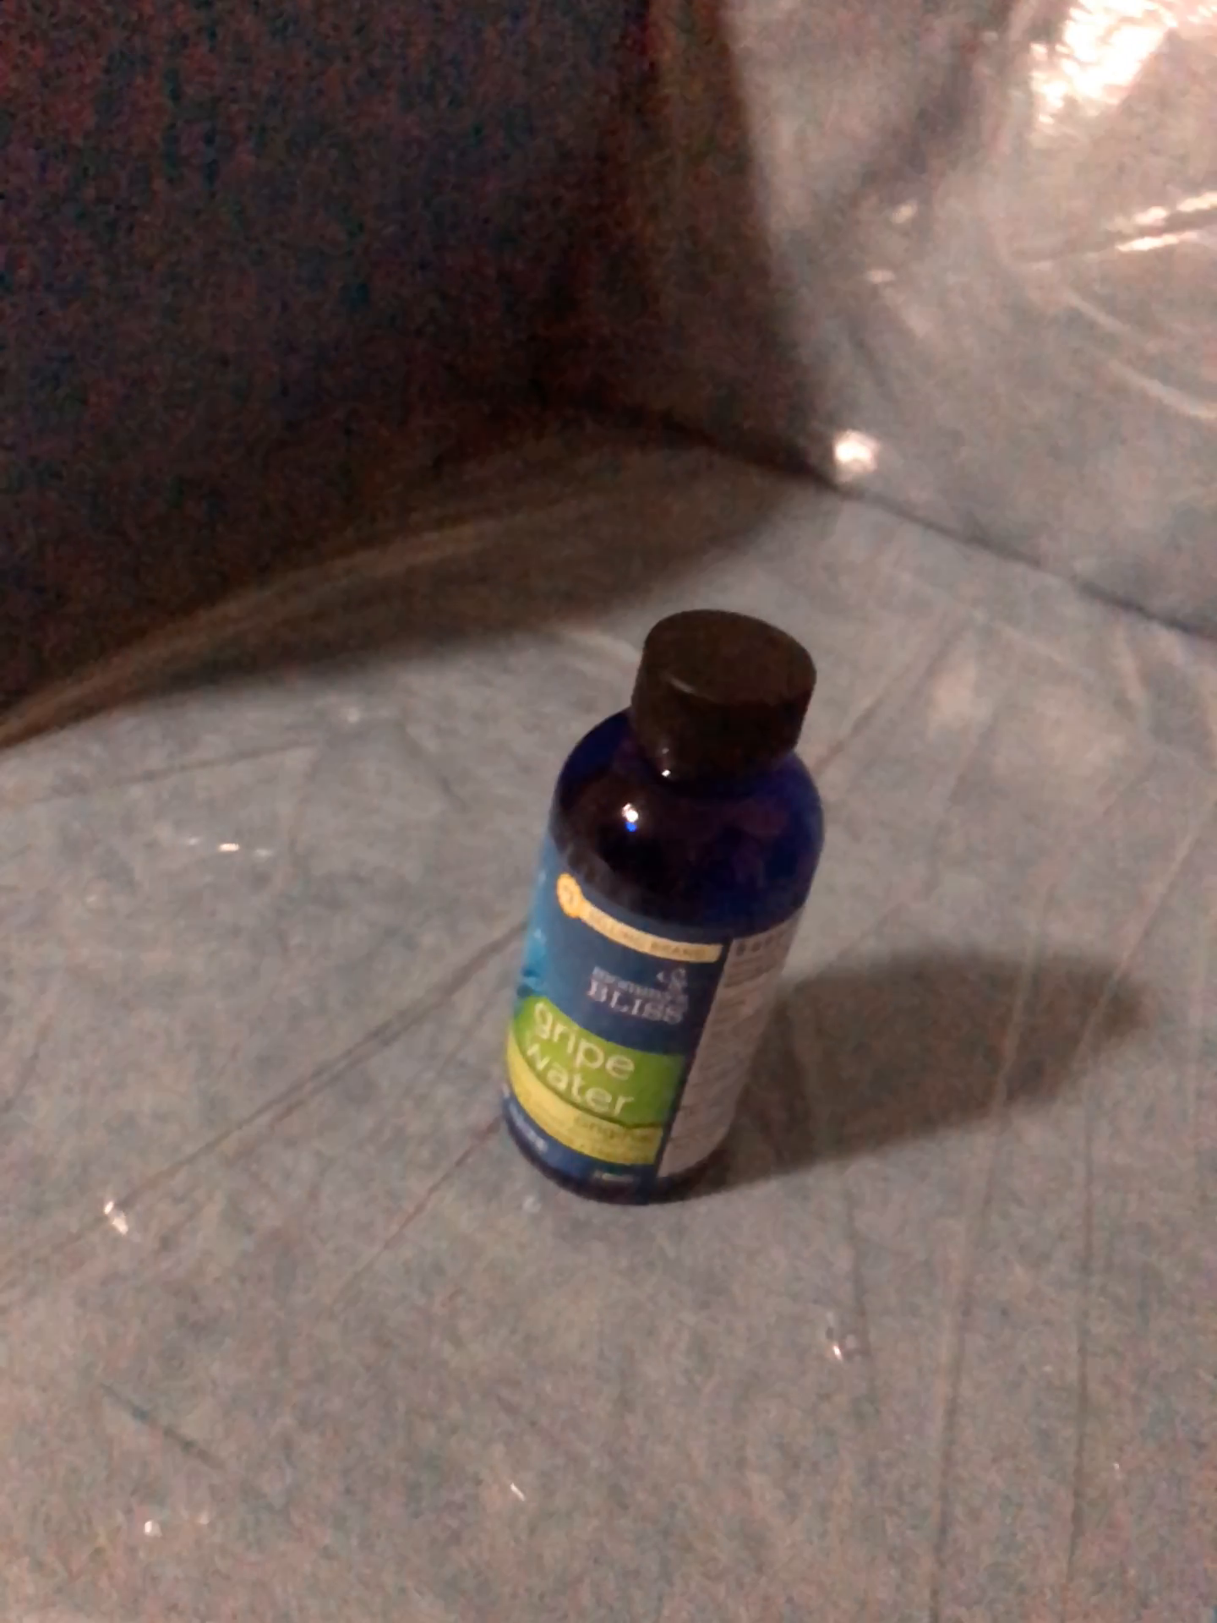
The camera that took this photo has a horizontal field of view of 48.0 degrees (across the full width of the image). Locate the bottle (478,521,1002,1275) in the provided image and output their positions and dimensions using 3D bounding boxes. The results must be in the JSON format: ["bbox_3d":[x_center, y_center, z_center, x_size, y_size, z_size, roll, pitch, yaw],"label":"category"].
[{"bbox_3d":[0.016,0.019,0.242,0.050,0.120,0.050,6,41,-5],"label":"bottle"}]
